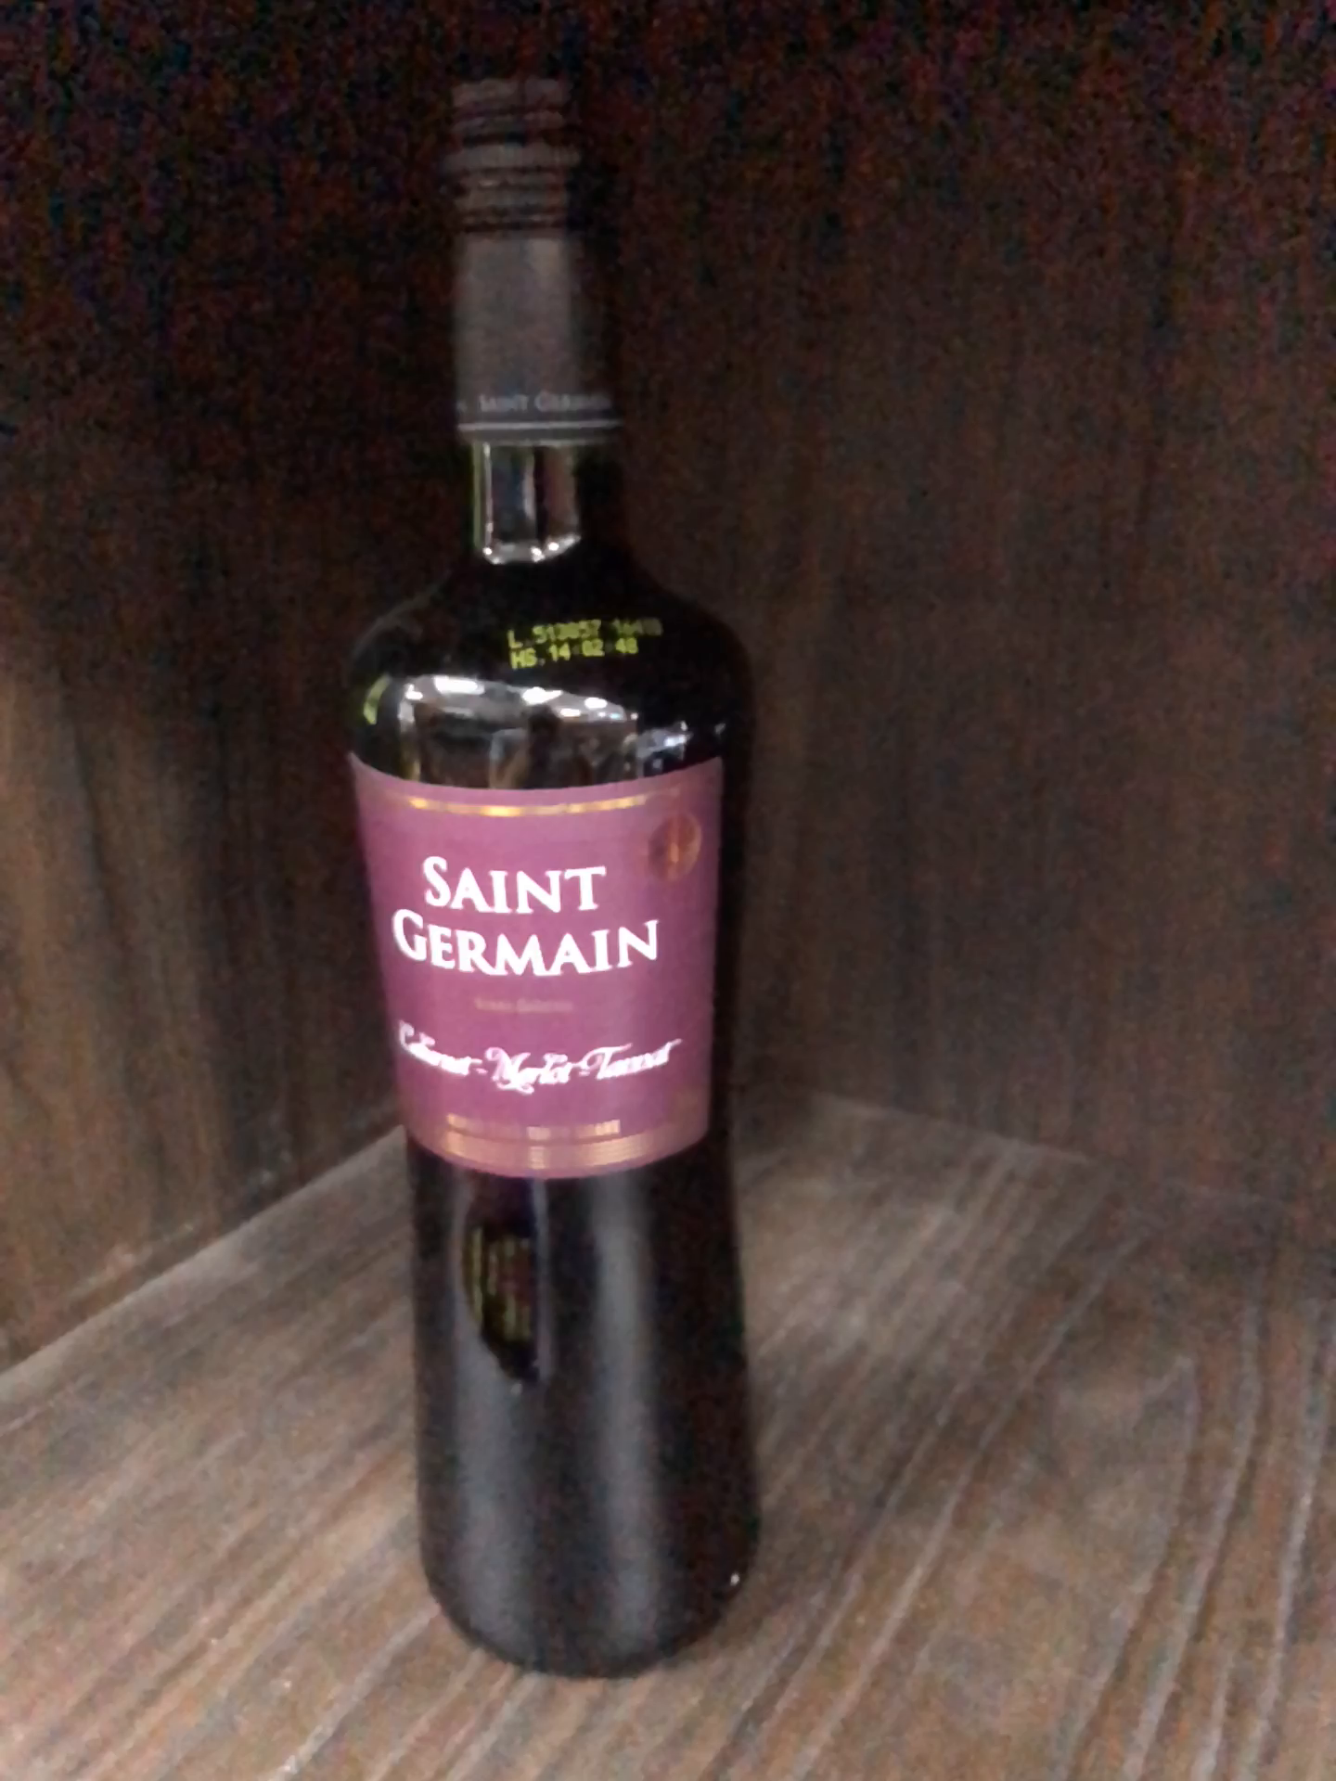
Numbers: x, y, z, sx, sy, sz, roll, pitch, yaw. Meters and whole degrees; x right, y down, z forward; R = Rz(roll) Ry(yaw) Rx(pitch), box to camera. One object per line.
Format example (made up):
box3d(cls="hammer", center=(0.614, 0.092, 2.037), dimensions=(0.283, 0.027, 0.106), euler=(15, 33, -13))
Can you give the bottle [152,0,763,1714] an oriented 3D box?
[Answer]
box3d(cls="bottle", center=(-0.025, 0.007, 0.285), dimensions=(0.080, 0.308, 0.070), euler=(-1, 18, 2))
